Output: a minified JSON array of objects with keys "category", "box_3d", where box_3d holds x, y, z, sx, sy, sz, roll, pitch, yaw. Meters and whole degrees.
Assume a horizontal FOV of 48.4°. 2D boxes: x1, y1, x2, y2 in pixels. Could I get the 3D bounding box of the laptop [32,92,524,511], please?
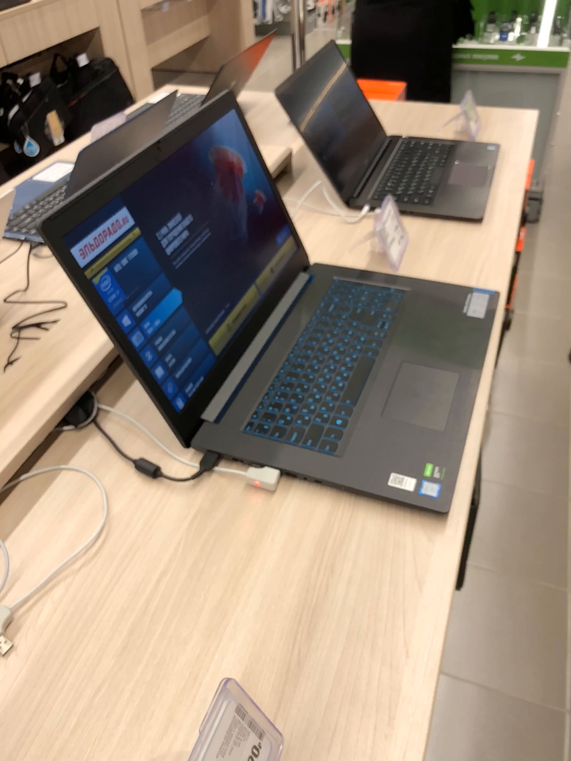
[{"category":"laptop","box_3d":[0.031,-0.130,0.719,0.380,0.242,0.397,12,42,17]}]
